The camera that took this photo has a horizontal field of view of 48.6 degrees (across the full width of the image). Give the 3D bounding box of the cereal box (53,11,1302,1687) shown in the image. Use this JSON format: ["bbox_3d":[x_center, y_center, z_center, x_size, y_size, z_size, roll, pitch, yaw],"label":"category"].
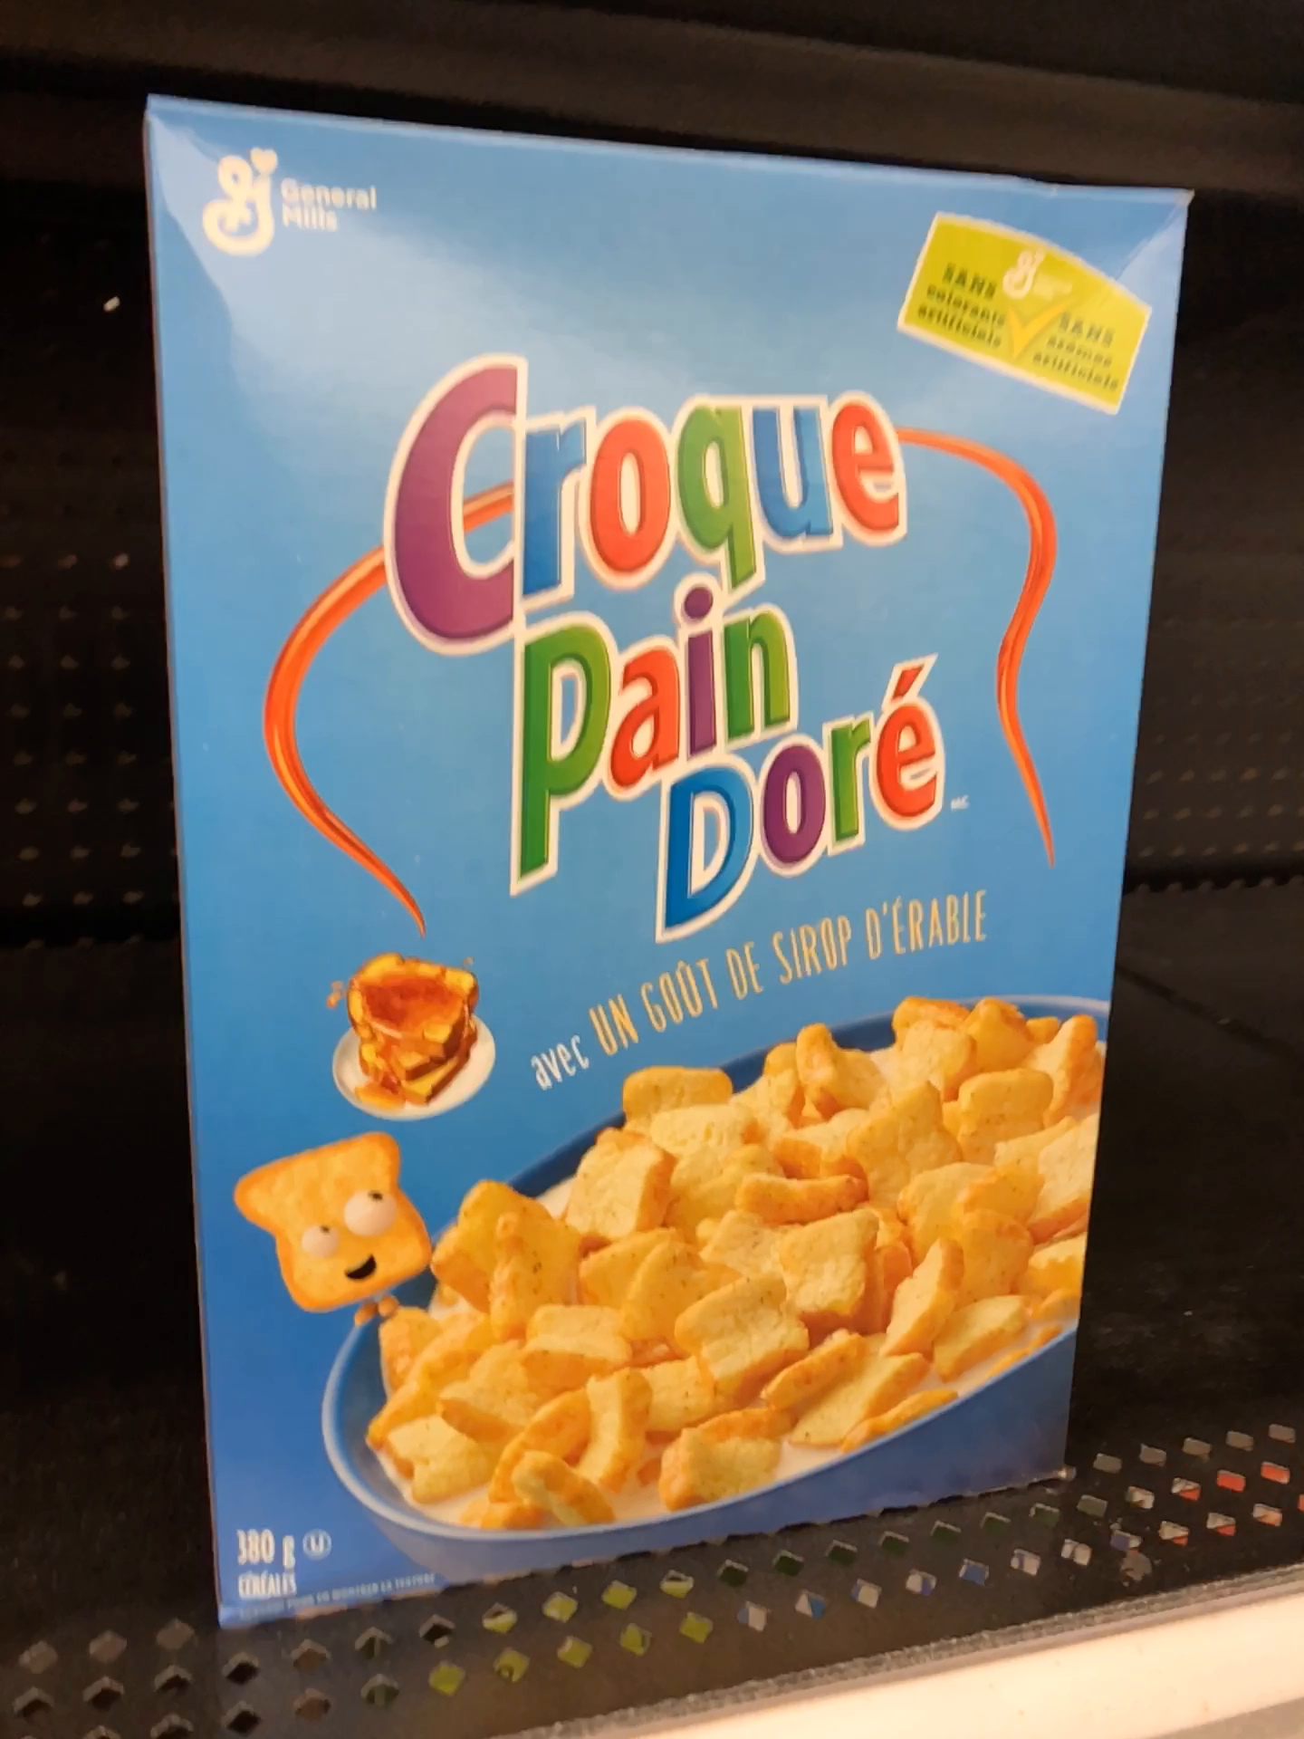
[{"bbox_3d":[0.007,0.003,0.282,0.210,0.269,0.050,-3,13,-18],"label":"cereal box"}]
